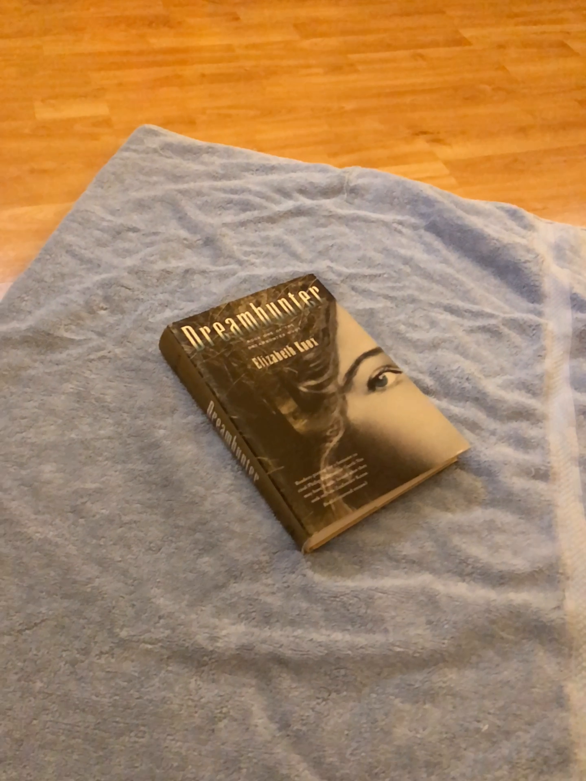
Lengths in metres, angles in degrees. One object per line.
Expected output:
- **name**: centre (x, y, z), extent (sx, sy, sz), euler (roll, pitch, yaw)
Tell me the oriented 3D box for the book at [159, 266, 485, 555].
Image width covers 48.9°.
- **book**: centre (0.016, -0.001, 0.526), extent (0.164, 0.030, 0.225), euler (-24, 56, -24)
